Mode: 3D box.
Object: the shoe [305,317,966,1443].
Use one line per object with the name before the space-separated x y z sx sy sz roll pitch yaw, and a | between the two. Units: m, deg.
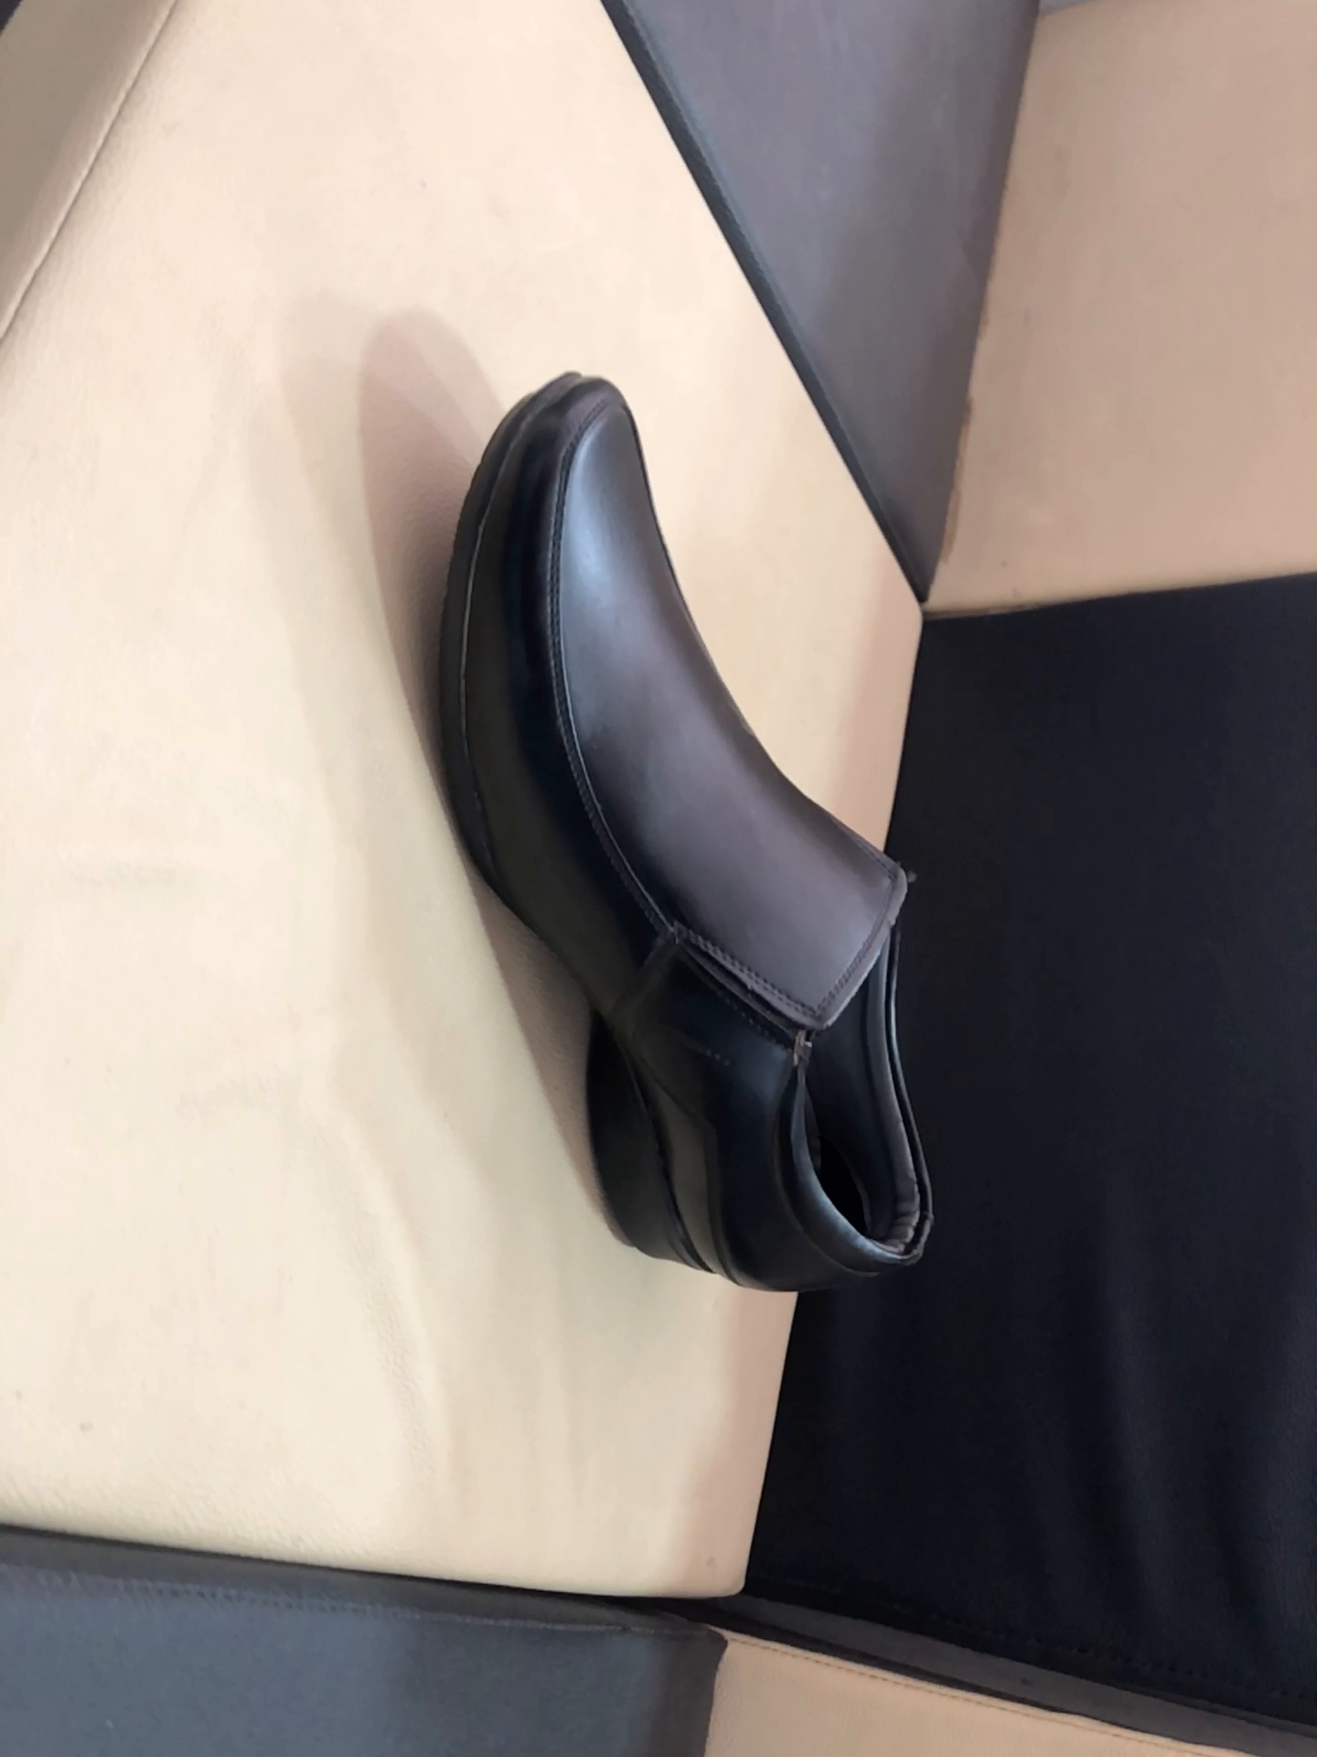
shoe | 0.011 0.010 0.452 0.101 0.099 0.321 -47 130 -50
